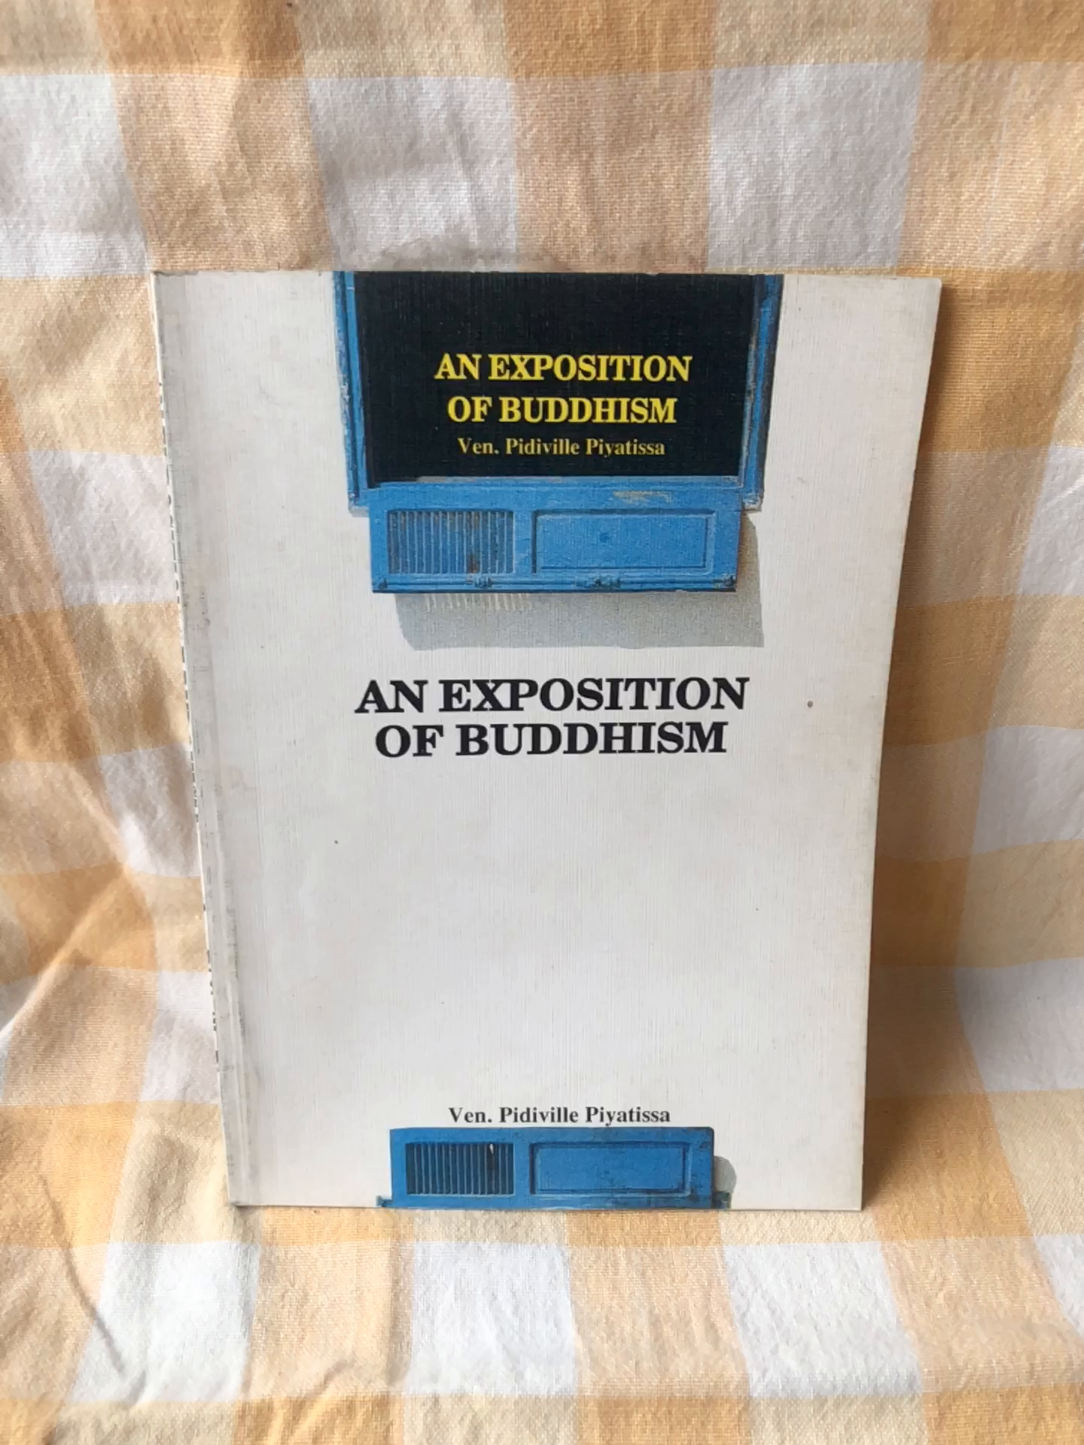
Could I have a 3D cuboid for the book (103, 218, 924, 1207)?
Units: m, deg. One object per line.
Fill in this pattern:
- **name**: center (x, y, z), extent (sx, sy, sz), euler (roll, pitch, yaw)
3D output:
- **book**: center (-0.004, 0.007, 0.245), extent (0.140, 0.199, 0.020), euler (0, 17, 2)
